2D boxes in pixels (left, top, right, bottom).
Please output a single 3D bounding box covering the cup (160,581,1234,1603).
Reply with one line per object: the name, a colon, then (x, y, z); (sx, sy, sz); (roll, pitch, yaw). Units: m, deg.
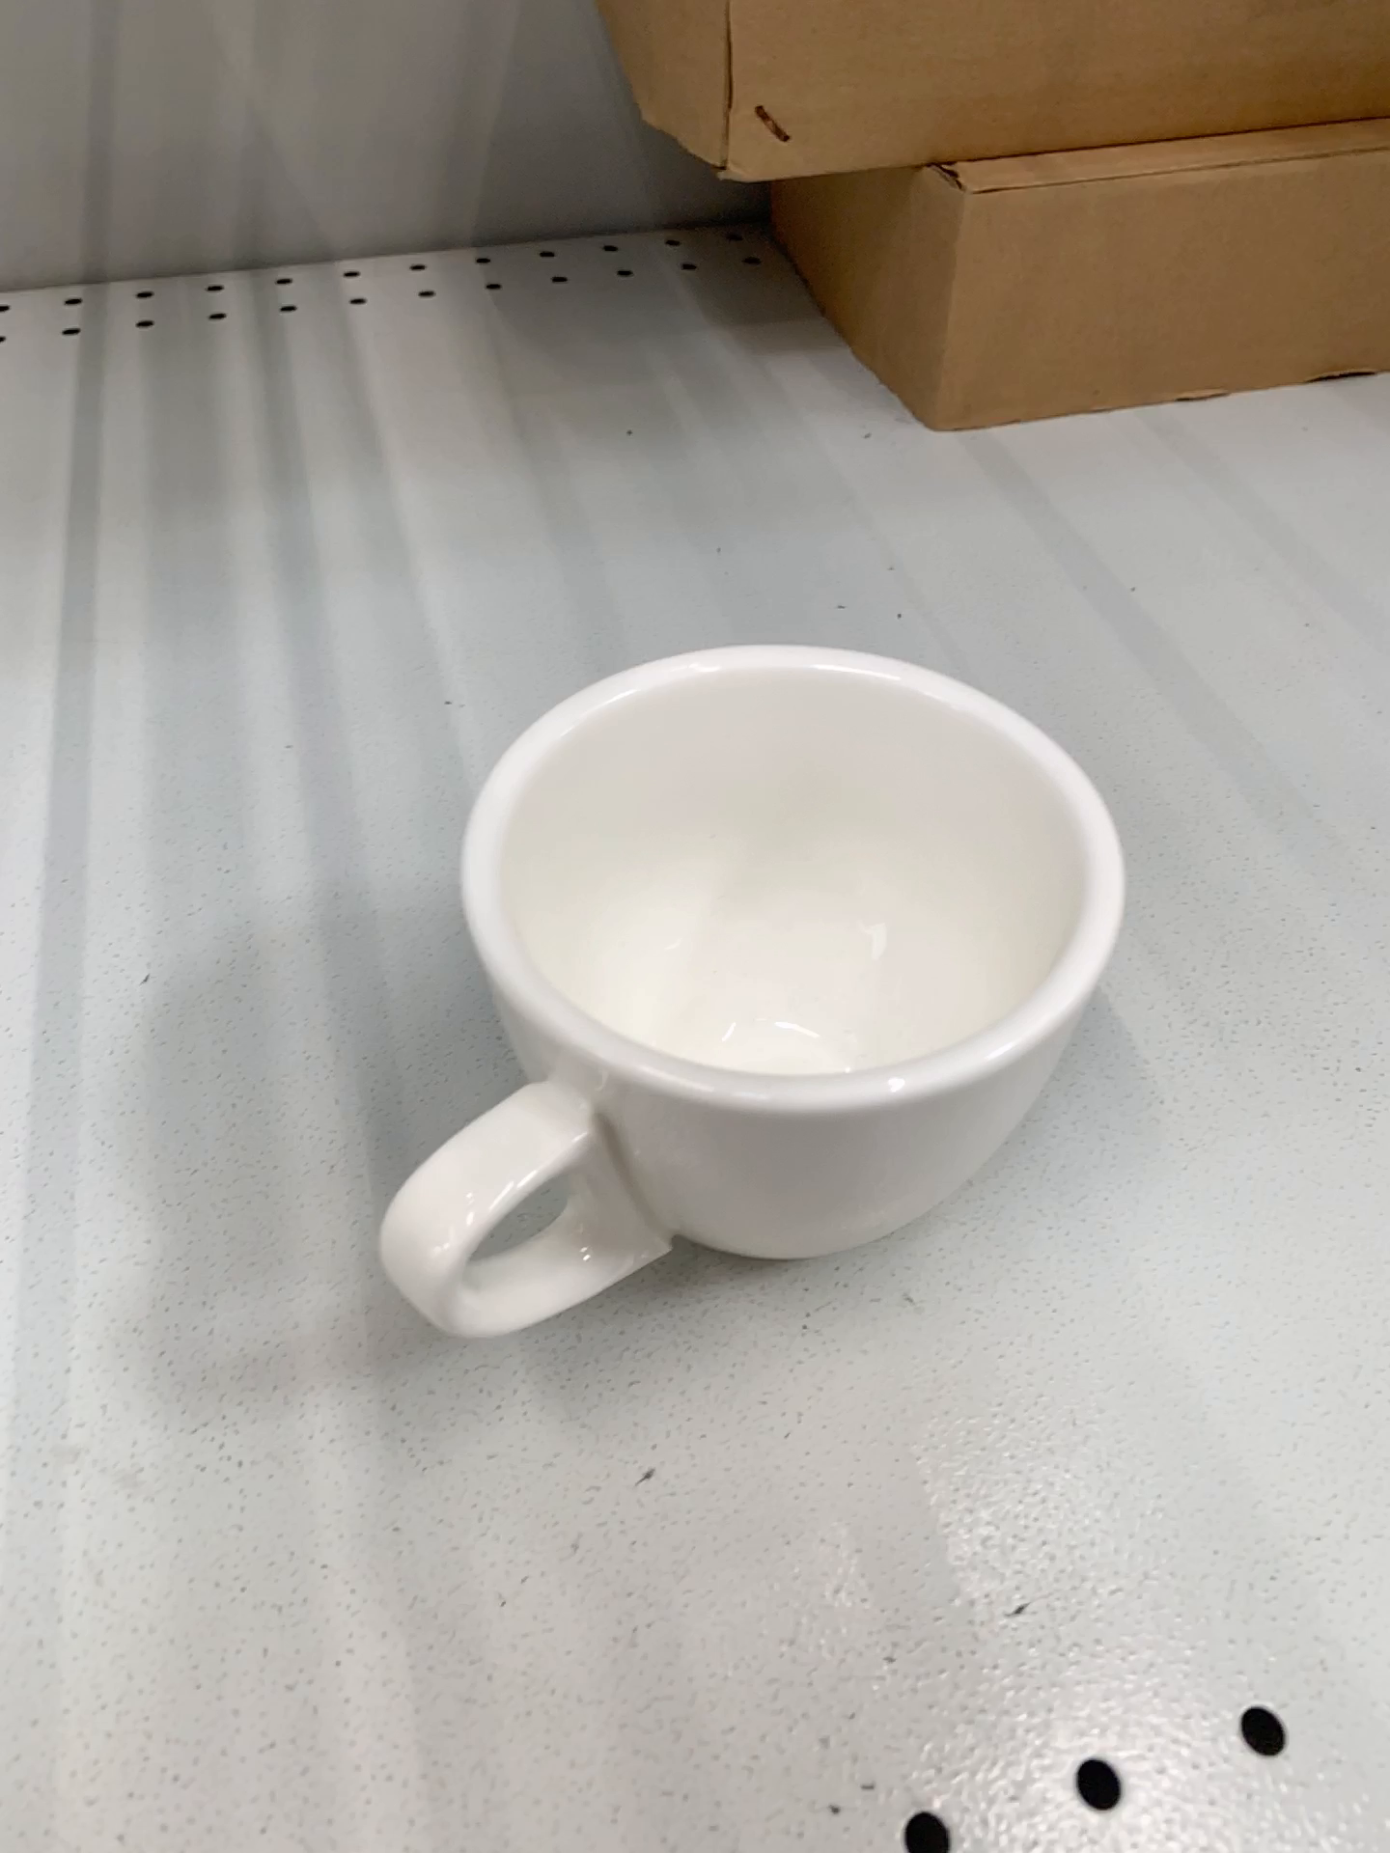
cup: (0.002, 0.017, 0.239); (0.128, 0.072, 0.096); (-33, 54, -28)
